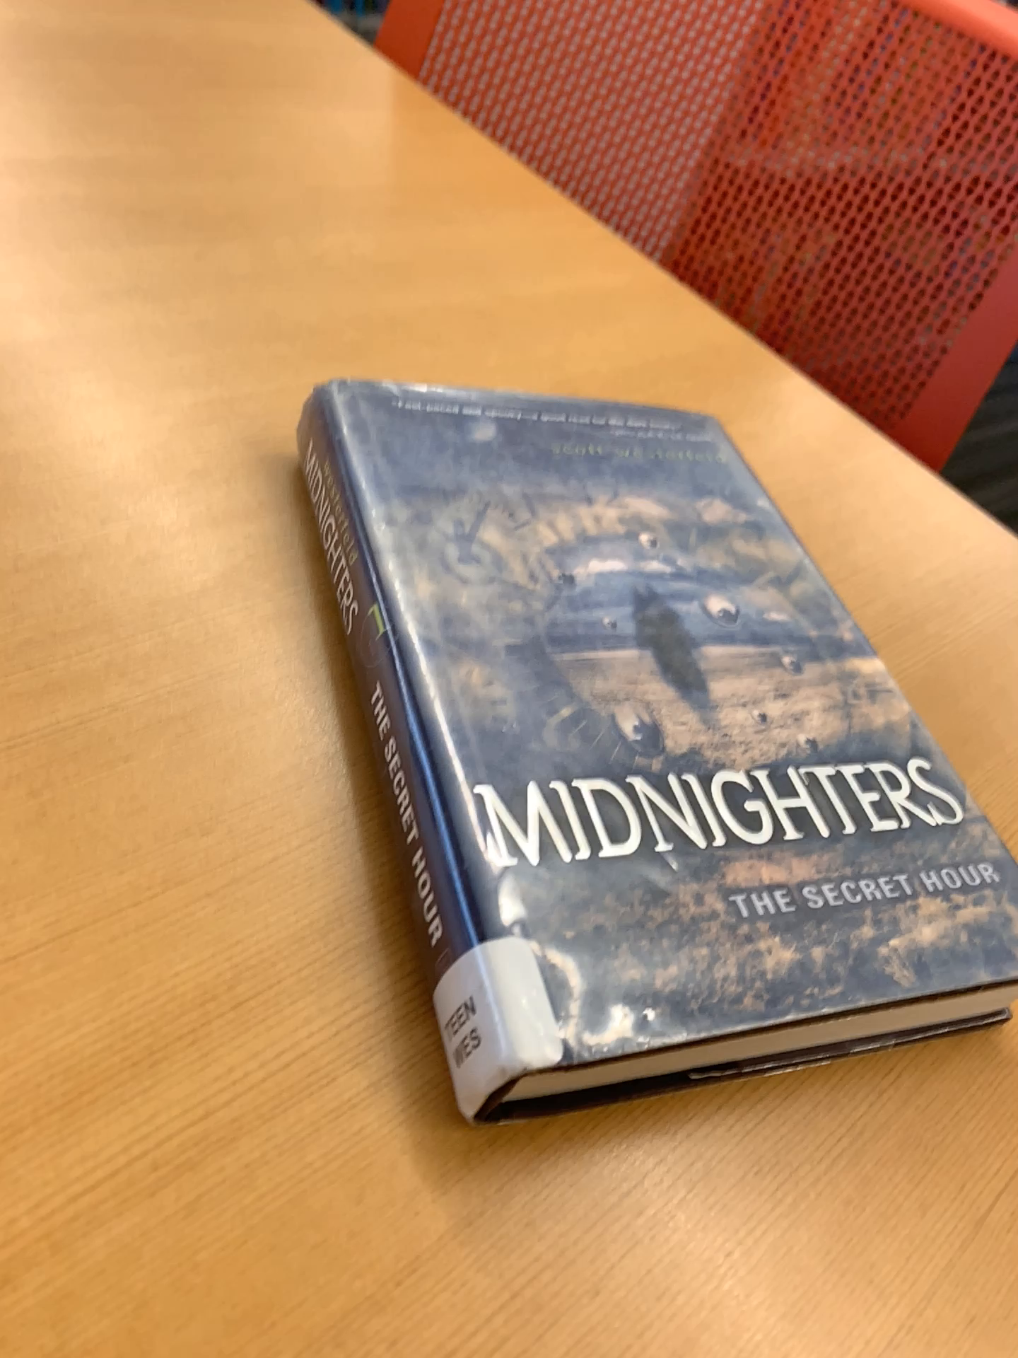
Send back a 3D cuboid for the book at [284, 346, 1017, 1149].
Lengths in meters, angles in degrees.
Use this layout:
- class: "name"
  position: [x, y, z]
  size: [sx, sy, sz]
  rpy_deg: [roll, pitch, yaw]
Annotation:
- class: "book"
  position: [0.032, -0.005, 0.289]
  size: [0.151, 0.036, 0.221]
  rpy_deg: [-1, 49, -23]
